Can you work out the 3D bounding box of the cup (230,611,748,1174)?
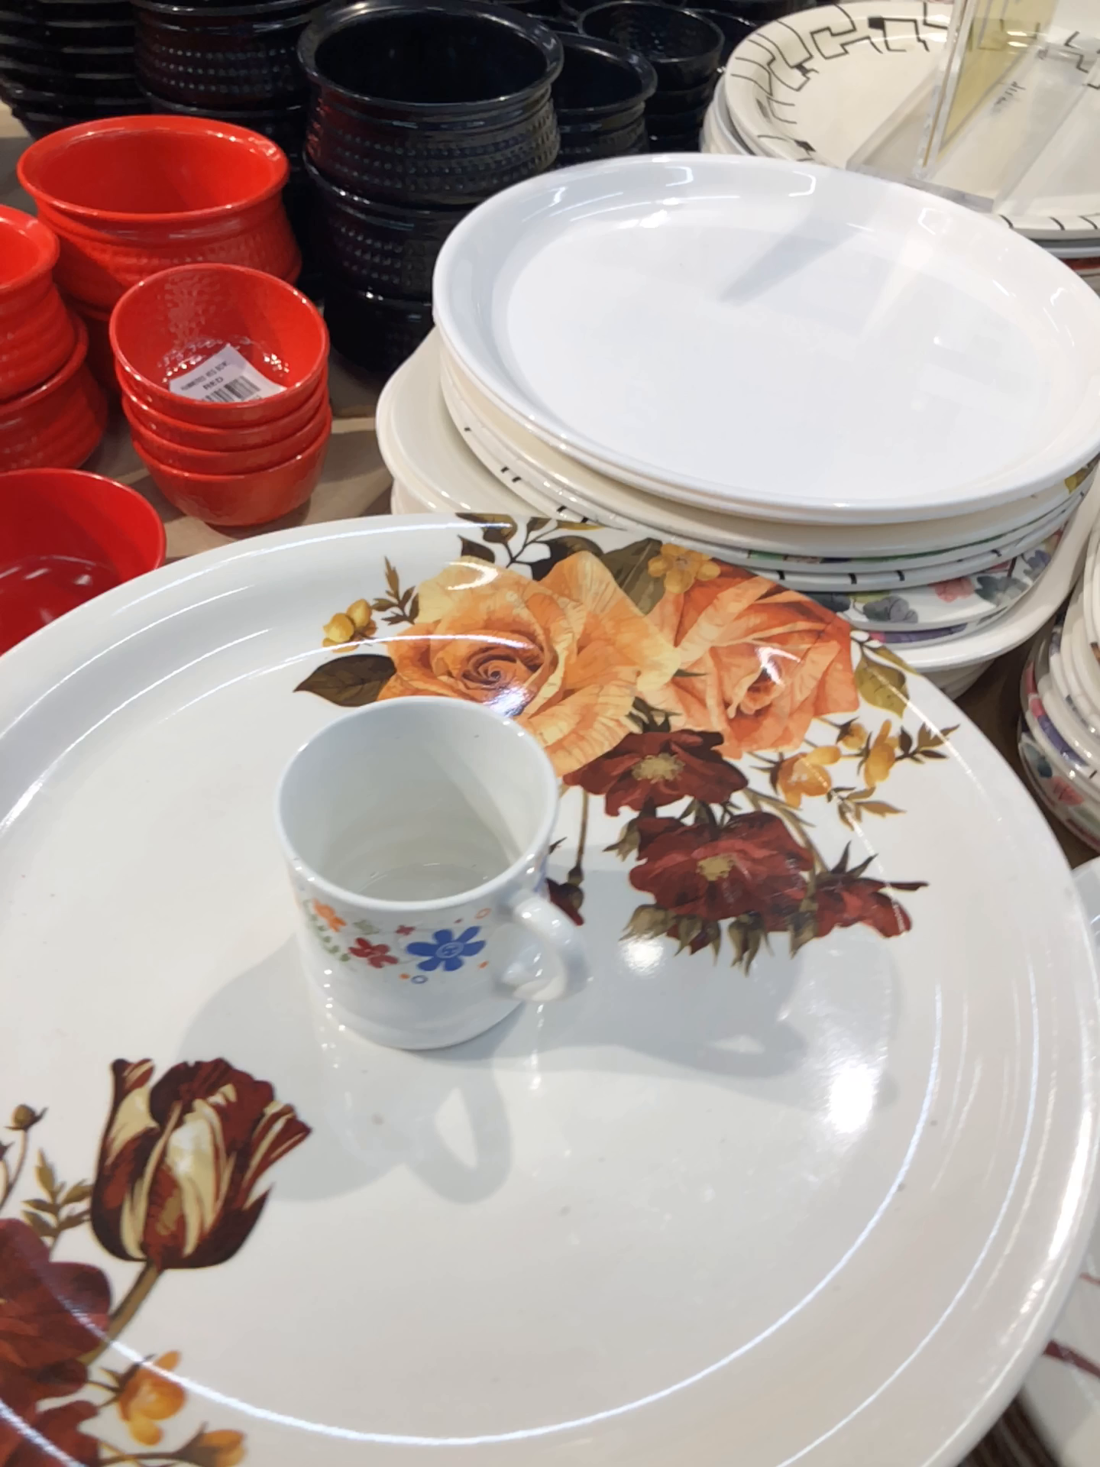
[{"bbox_3d":[-0.015,0.035,0.291,0.090,0.070,0.070,37,56,27],"label":"cup"}]
